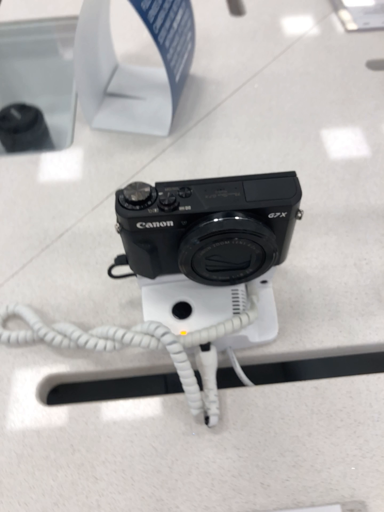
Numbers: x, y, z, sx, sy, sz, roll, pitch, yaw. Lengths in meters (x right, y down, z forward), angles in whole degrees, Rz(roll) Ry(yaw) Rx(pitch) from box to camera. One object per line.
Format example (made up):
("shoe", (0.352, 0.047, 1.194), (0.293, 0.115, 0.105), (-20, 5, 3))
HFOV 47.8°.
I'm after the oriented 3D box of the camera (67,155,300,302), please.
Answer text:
("camera", (-0.006, -0.015, 0.260), (0.120, 0.060, 0.050), (-6, 56, -2))
